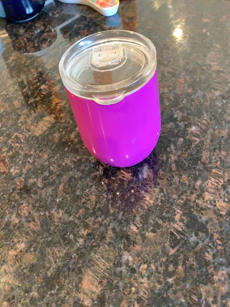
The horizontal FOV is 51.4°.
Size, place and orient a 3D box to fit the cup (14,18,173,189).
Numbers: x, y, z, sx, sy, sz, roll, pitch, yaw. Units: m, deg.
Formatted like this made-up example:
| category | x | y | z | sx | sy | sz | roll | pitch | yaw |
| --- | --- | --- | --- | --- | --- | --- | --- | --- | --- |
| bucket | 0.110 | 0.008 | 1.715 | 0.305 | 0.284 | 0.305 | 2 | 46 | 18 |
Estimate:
| category | x | y | z | sx | sy | sz | roll | pitch | yaw |
| --- | --- | --- | --- | --- | --- | --- | --- | --- | --- |
| cup | -0.006 | -0.044 | 0.221 | 0.090 | 0.110 | 0.090 | -4 | 55 | 6 |
